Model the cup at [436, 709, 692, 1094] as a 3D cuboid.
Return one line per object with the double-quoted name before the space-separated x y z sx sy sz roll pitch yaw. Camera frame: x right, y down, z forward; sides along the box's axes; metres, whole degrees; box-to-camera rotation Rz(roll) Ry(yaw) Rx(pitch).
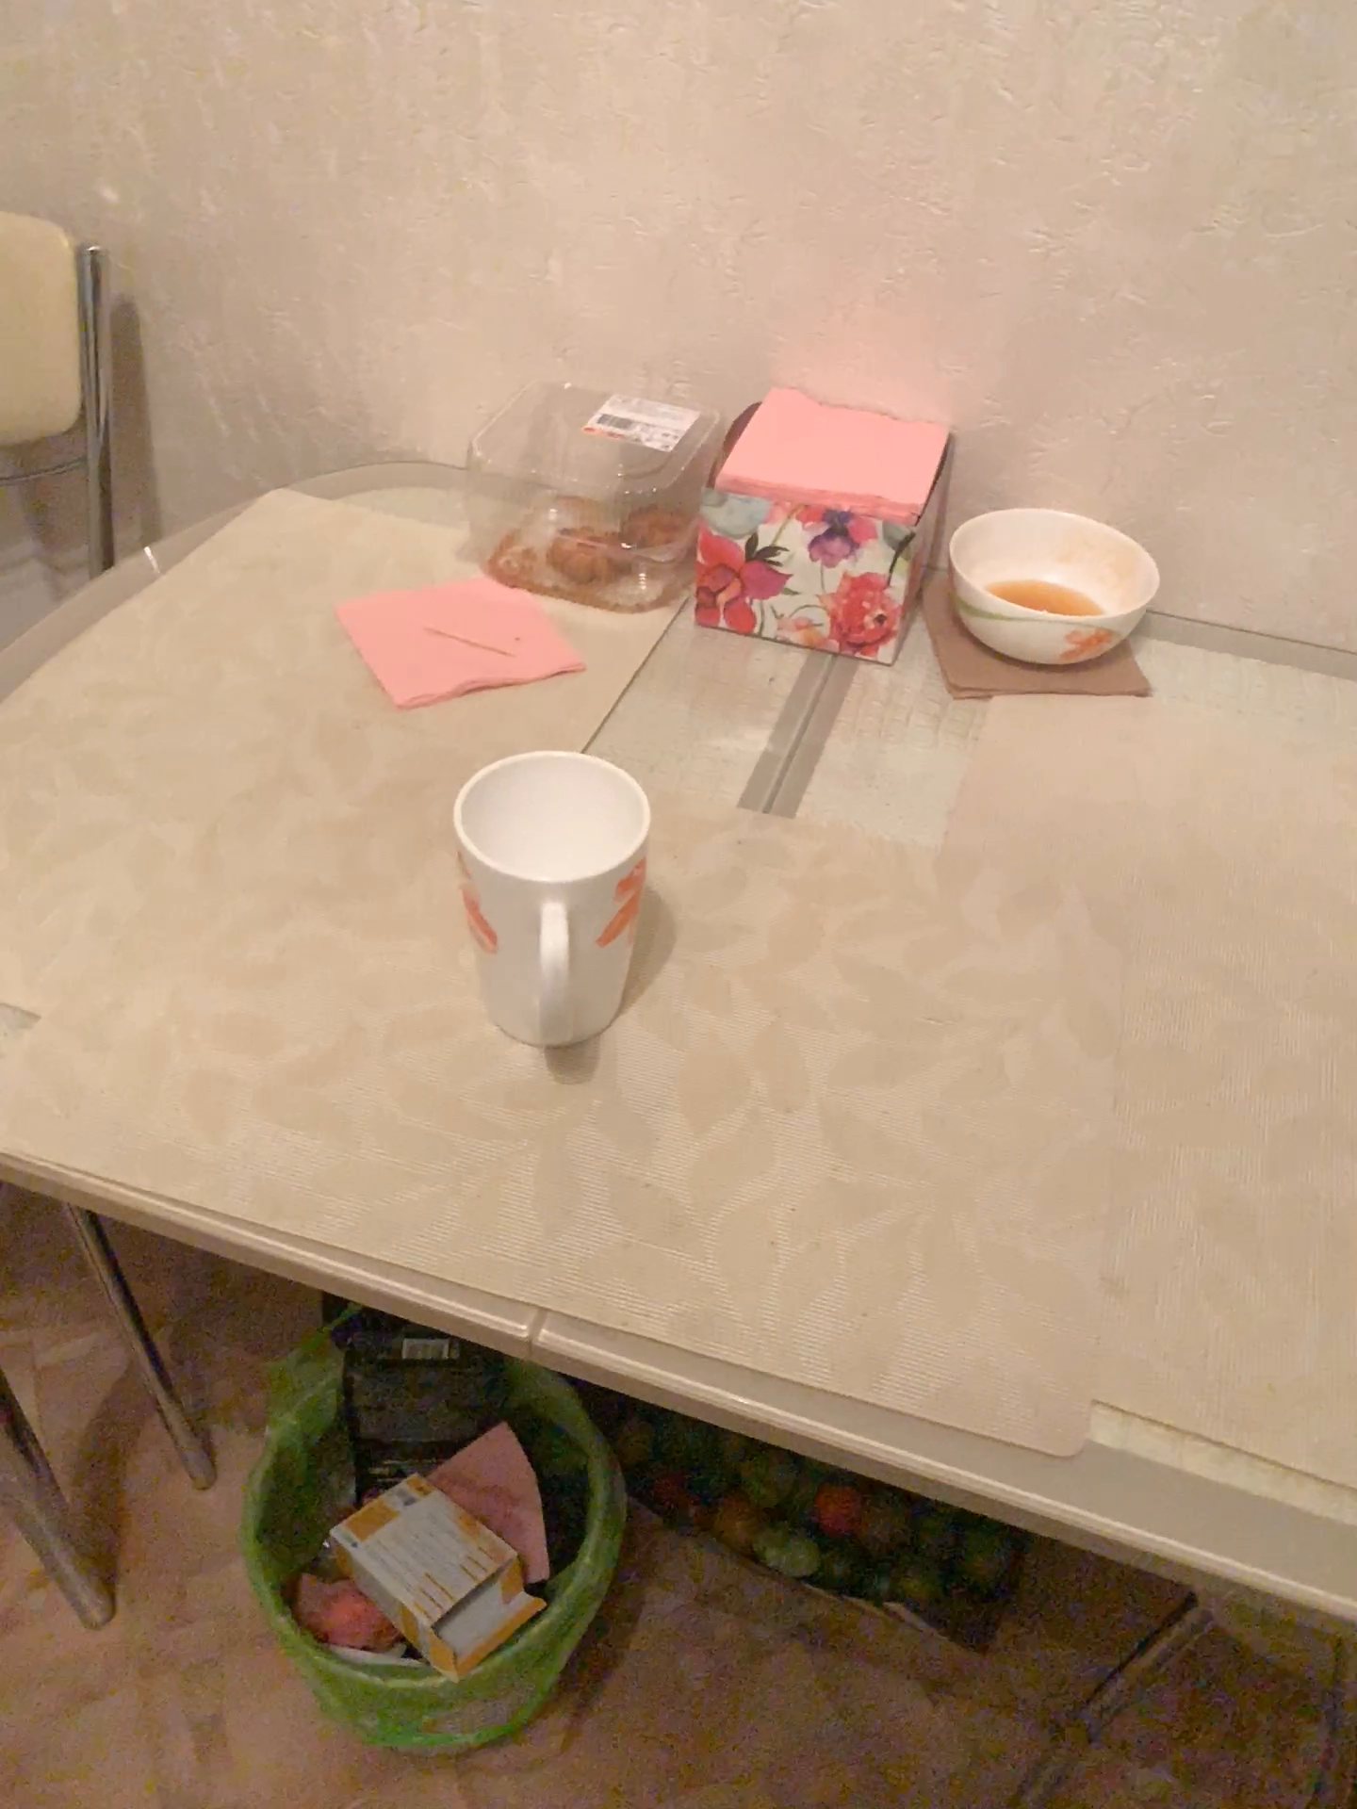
"cup" -0.042 -0.003 0.567 0.090 0.099 0.121 2 43 -2
